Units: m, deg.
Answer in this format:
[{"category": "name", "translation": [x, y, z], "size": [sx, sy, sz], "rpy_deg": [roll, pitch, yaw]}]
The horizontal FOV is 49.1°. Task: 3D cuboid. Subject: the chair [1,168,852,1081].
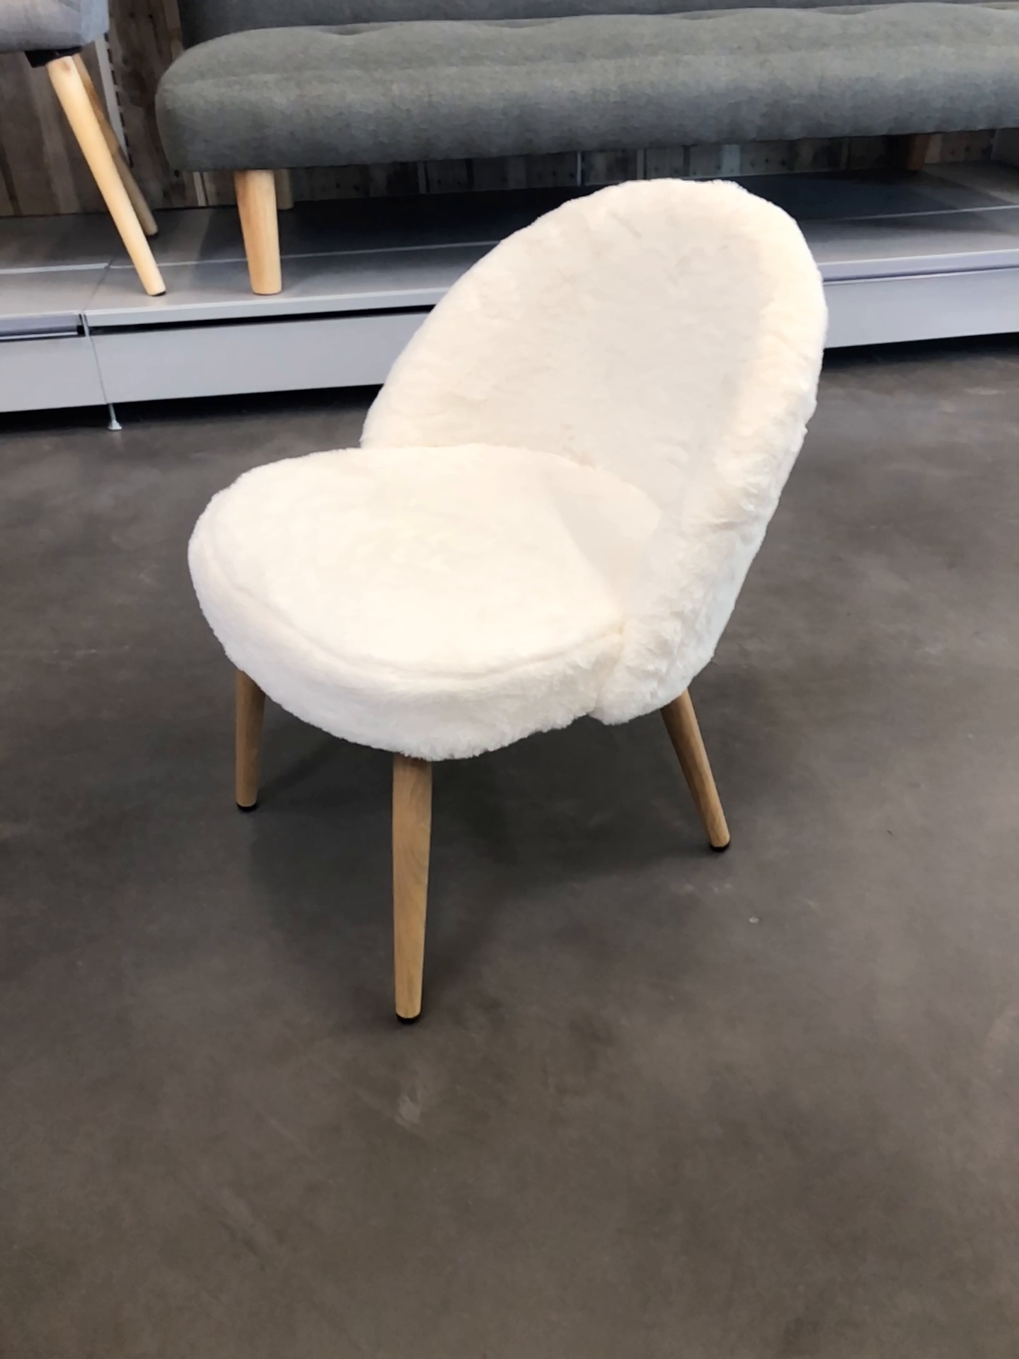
[{"category": "chair", "translation": [-0.063, -0.092, 0.945], "size": [0.472, 0.537, 0.411], "rpy_deg": [-22, 37, -27]}]
